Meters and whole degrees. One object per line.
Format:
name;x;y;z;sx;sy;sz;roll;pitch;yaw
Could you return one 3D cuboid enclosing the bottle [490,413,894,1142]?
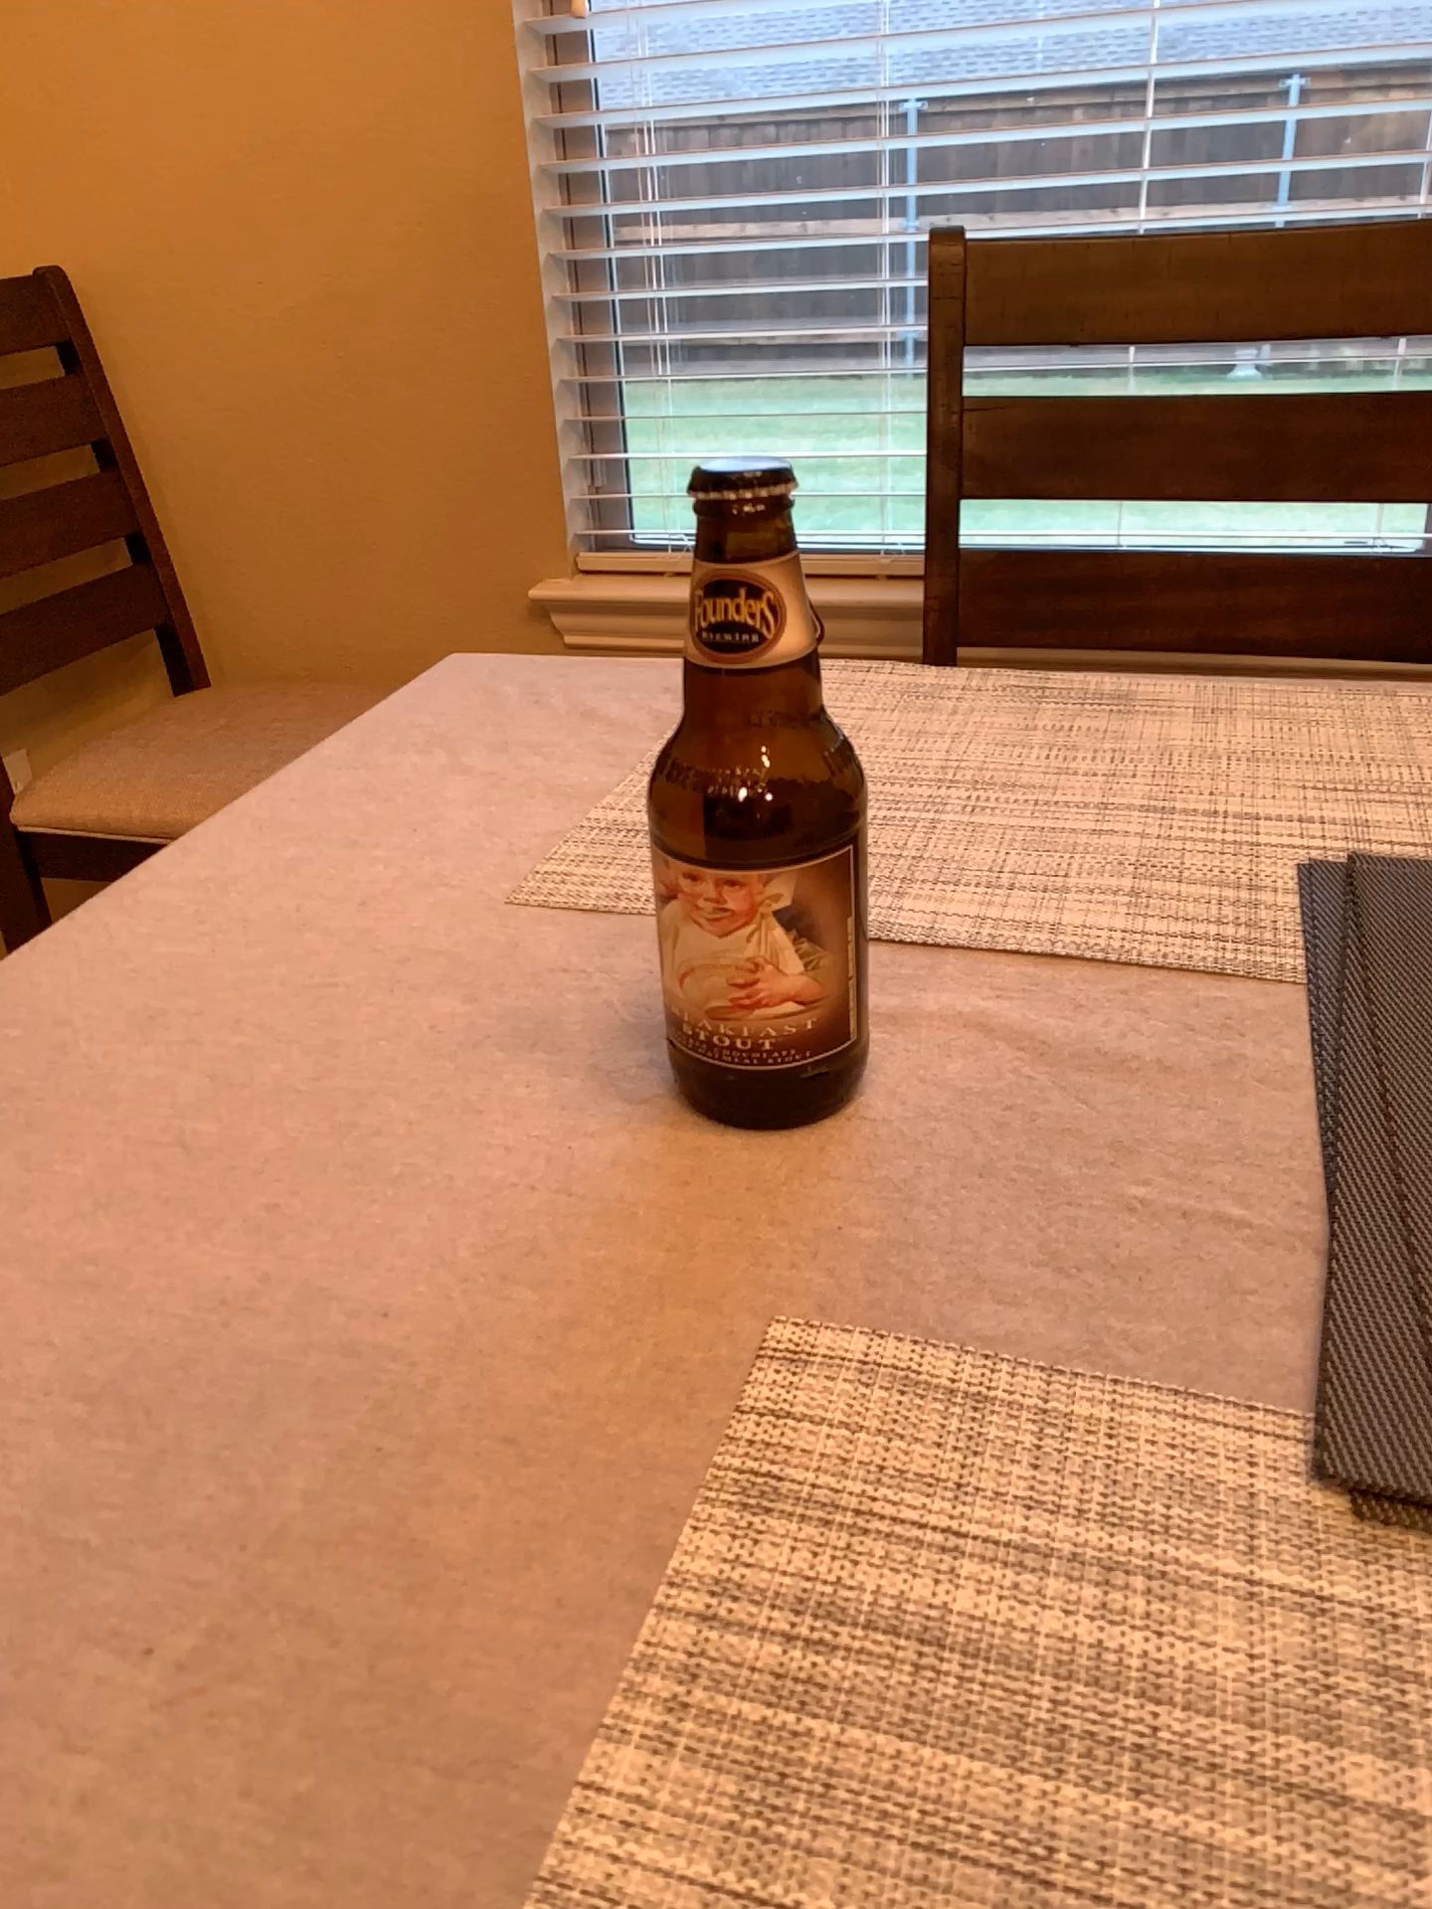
bottle;0.001;-0.053;0.429;0.080;0.189;0.080;-3;27;2
